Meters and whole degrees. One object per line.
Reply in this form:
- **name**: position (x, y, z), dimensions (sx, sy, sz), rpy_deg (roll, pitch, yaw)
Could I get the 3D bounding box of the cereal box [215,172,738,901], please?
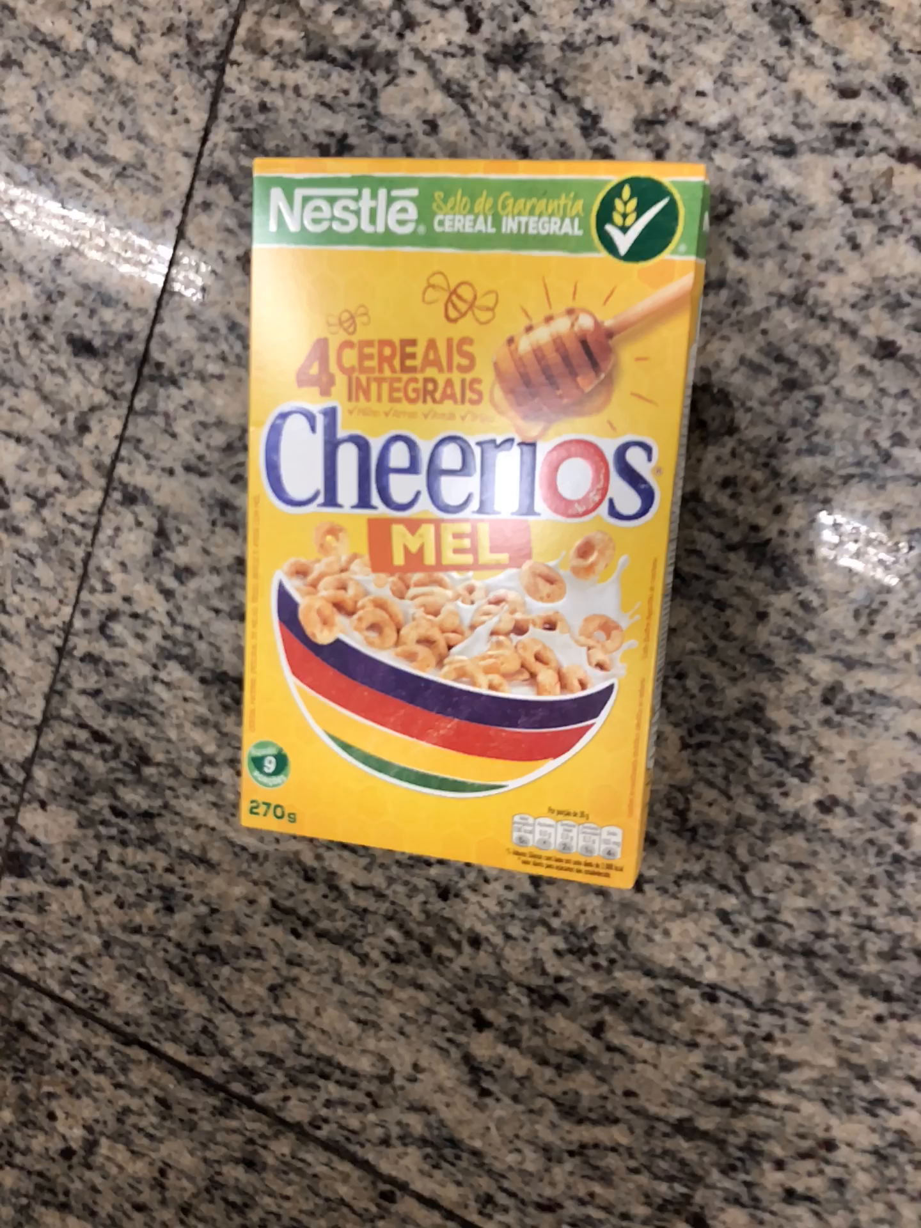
- **cereal box**: position (0.002, -0.030, 0.384), dimensions (0.170, 0.060, 0.240), rpy_deg (6, 101, 12)
